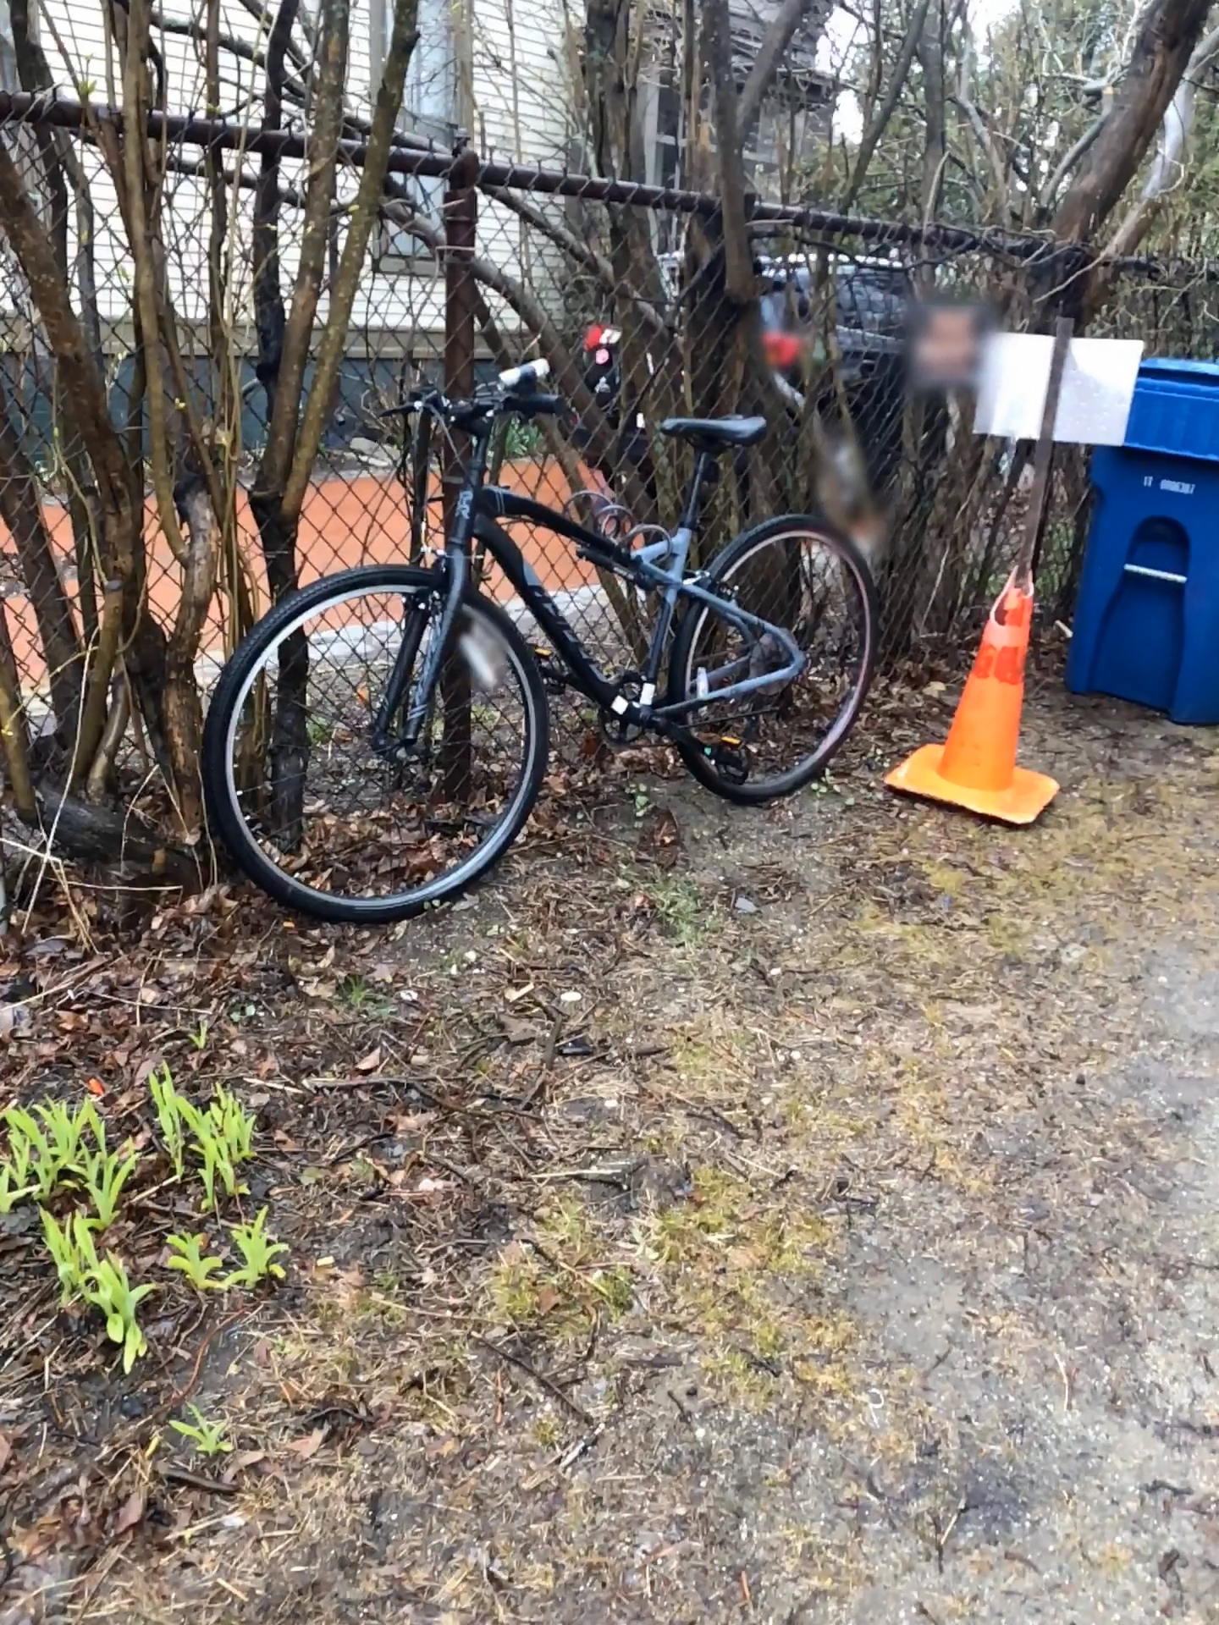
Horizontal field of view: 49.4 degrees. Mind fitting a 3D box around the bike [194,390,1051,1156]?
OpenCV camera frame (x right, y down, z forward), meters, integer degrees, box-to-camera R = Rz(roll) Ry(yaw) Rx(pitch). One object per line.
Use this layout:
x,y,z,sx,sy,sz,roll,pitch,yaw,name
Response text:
0.114,-0.250,2.903,1.890,1.067,0.538,-19,29,-36,bike
